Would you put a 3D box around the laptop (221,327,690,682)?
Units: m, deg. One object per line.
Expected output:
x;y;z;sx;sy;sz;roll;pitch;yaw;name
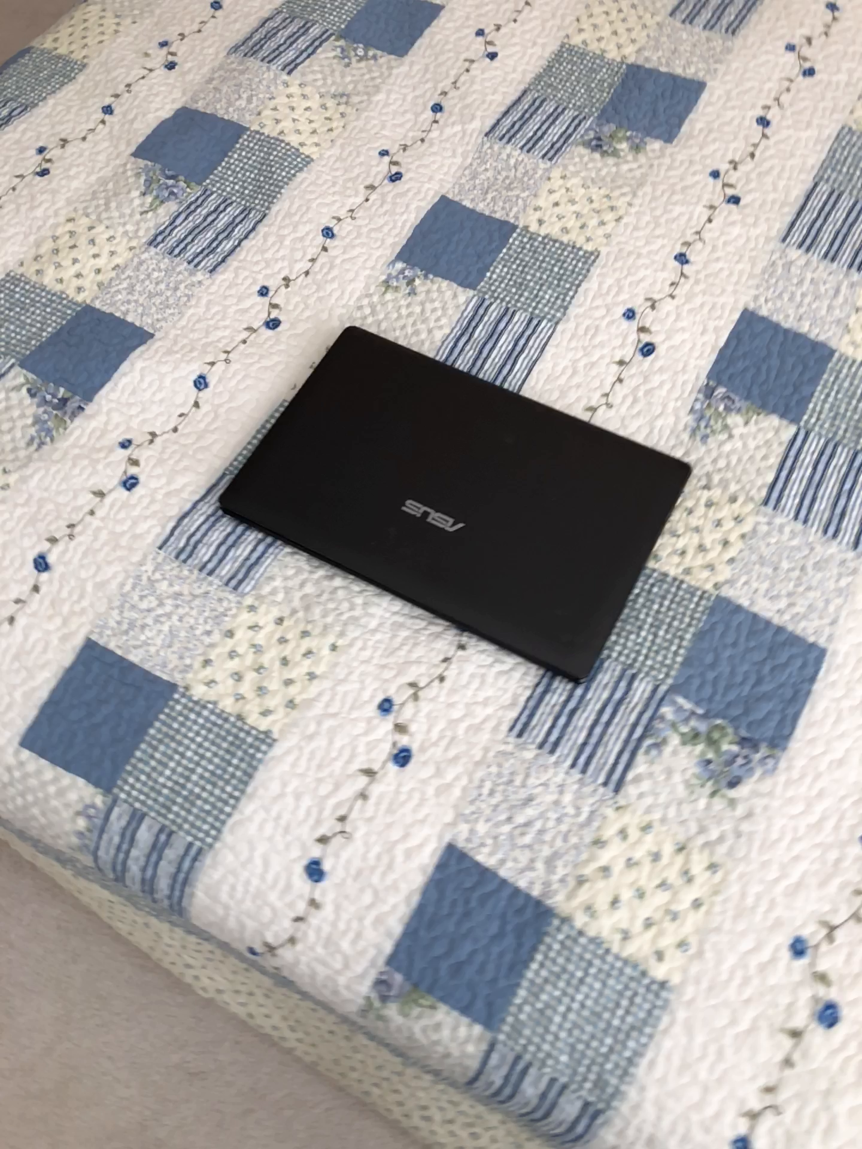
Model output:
0.022;-0.082;0.876;0.369;0.006;0.235;25;67;15;laptop
